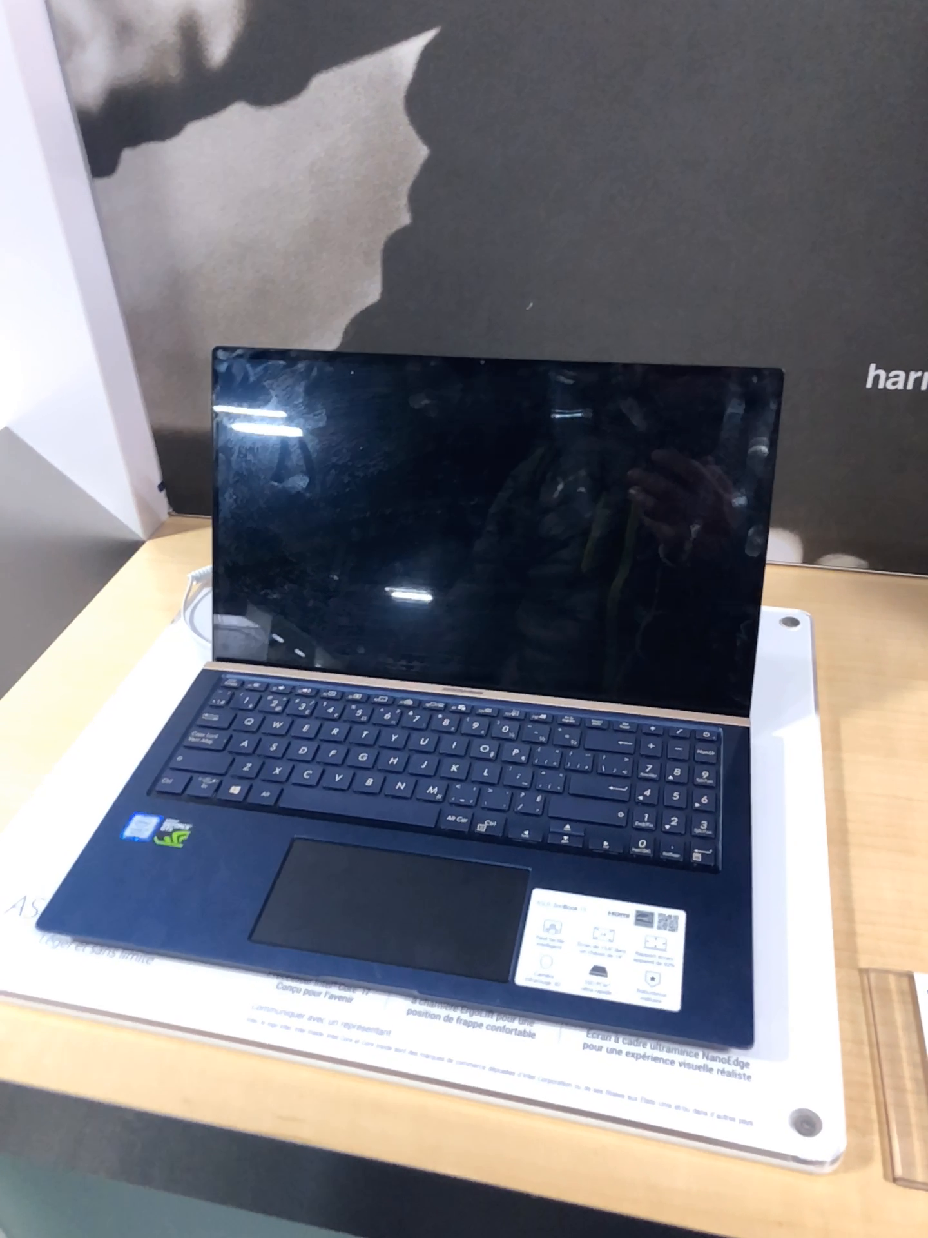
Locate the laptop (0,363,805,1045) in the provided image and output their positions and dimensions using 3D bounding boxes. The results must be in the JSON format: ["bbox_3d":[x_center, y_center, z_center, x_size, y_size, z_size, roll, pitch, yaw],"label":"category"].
[{"bbox_3d":[-0.014,0.009,0.522,0.331,0.173,0.293,5,36,13],"label":"laptop"}]
